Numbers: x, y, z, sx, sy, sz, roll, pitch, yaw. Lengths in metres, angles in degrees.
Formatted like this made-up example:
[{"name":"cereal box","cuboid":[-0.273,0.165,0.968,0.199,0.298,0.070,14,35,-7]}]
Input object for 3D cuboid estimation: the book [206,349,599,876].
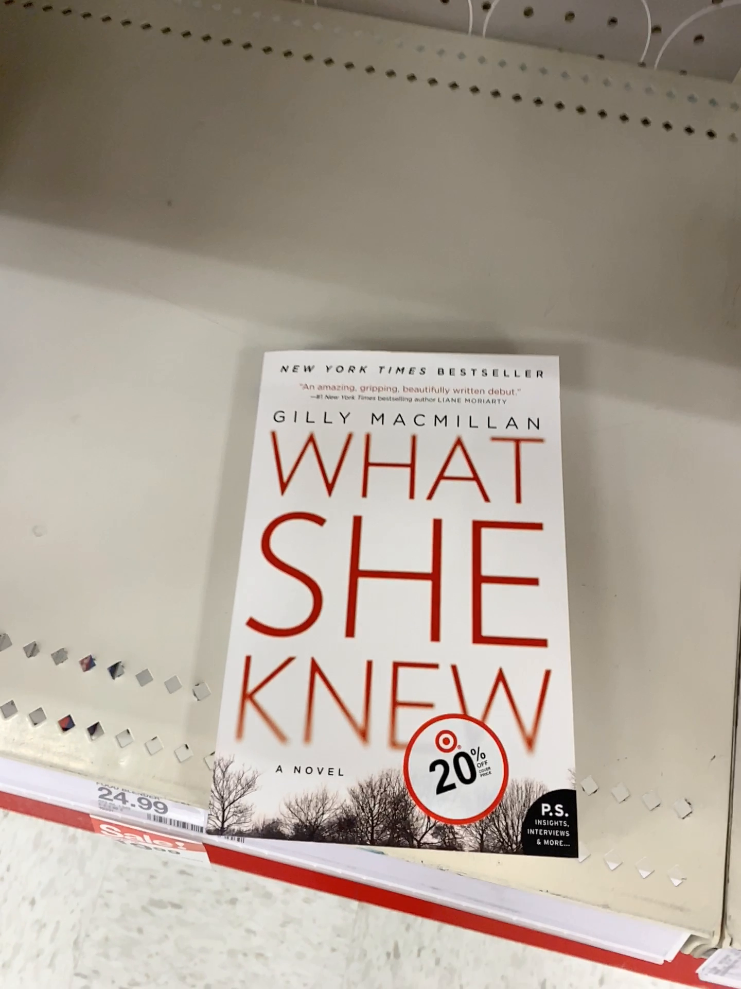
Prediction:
[{"name":"book","cuboid":[0.016,0.039,0.310,0.130,0.041,0.197,2,68,3]}]
